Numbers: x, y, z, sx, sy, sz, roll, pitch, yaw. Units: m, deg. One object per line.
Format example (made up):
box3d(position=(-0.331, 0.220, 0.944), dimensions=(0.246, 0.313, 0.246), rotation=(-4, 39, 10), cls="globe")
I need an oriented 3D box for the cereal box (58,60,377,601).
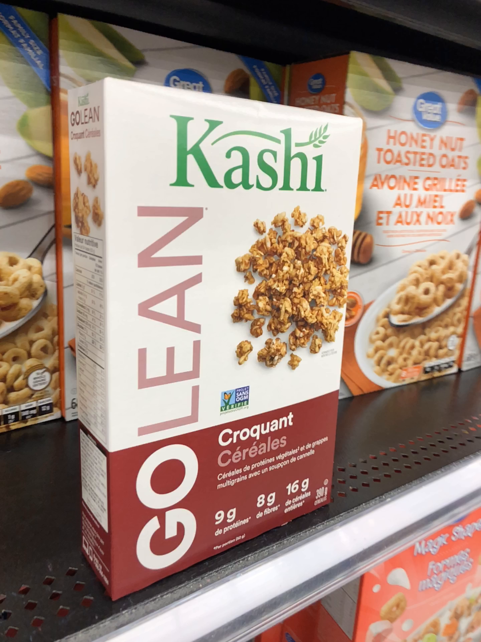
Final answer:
box3d(position=(-0.011, 0.005, 0.314), dimensions=(0.170, 0.259, 0.050), rotation=(-8, 19, -36), cls="cereal box")
